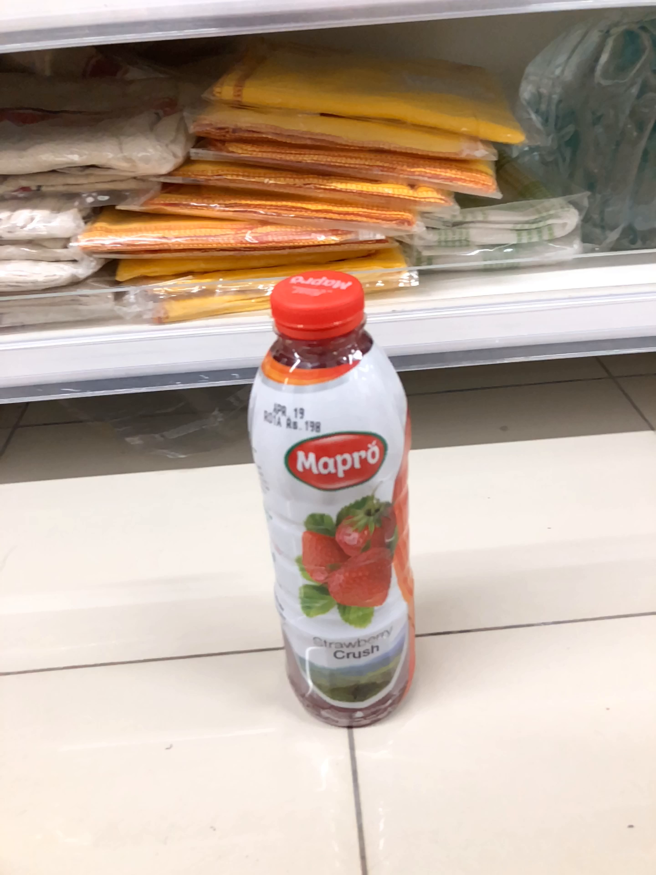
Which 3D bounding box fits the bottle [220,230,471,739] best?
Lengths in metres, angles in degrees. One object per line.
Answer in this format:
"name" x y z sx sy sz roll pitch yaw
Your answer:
"bottle" 0.012 0.036 0.360 0.090 0.248 0.081 -6 34 -2
